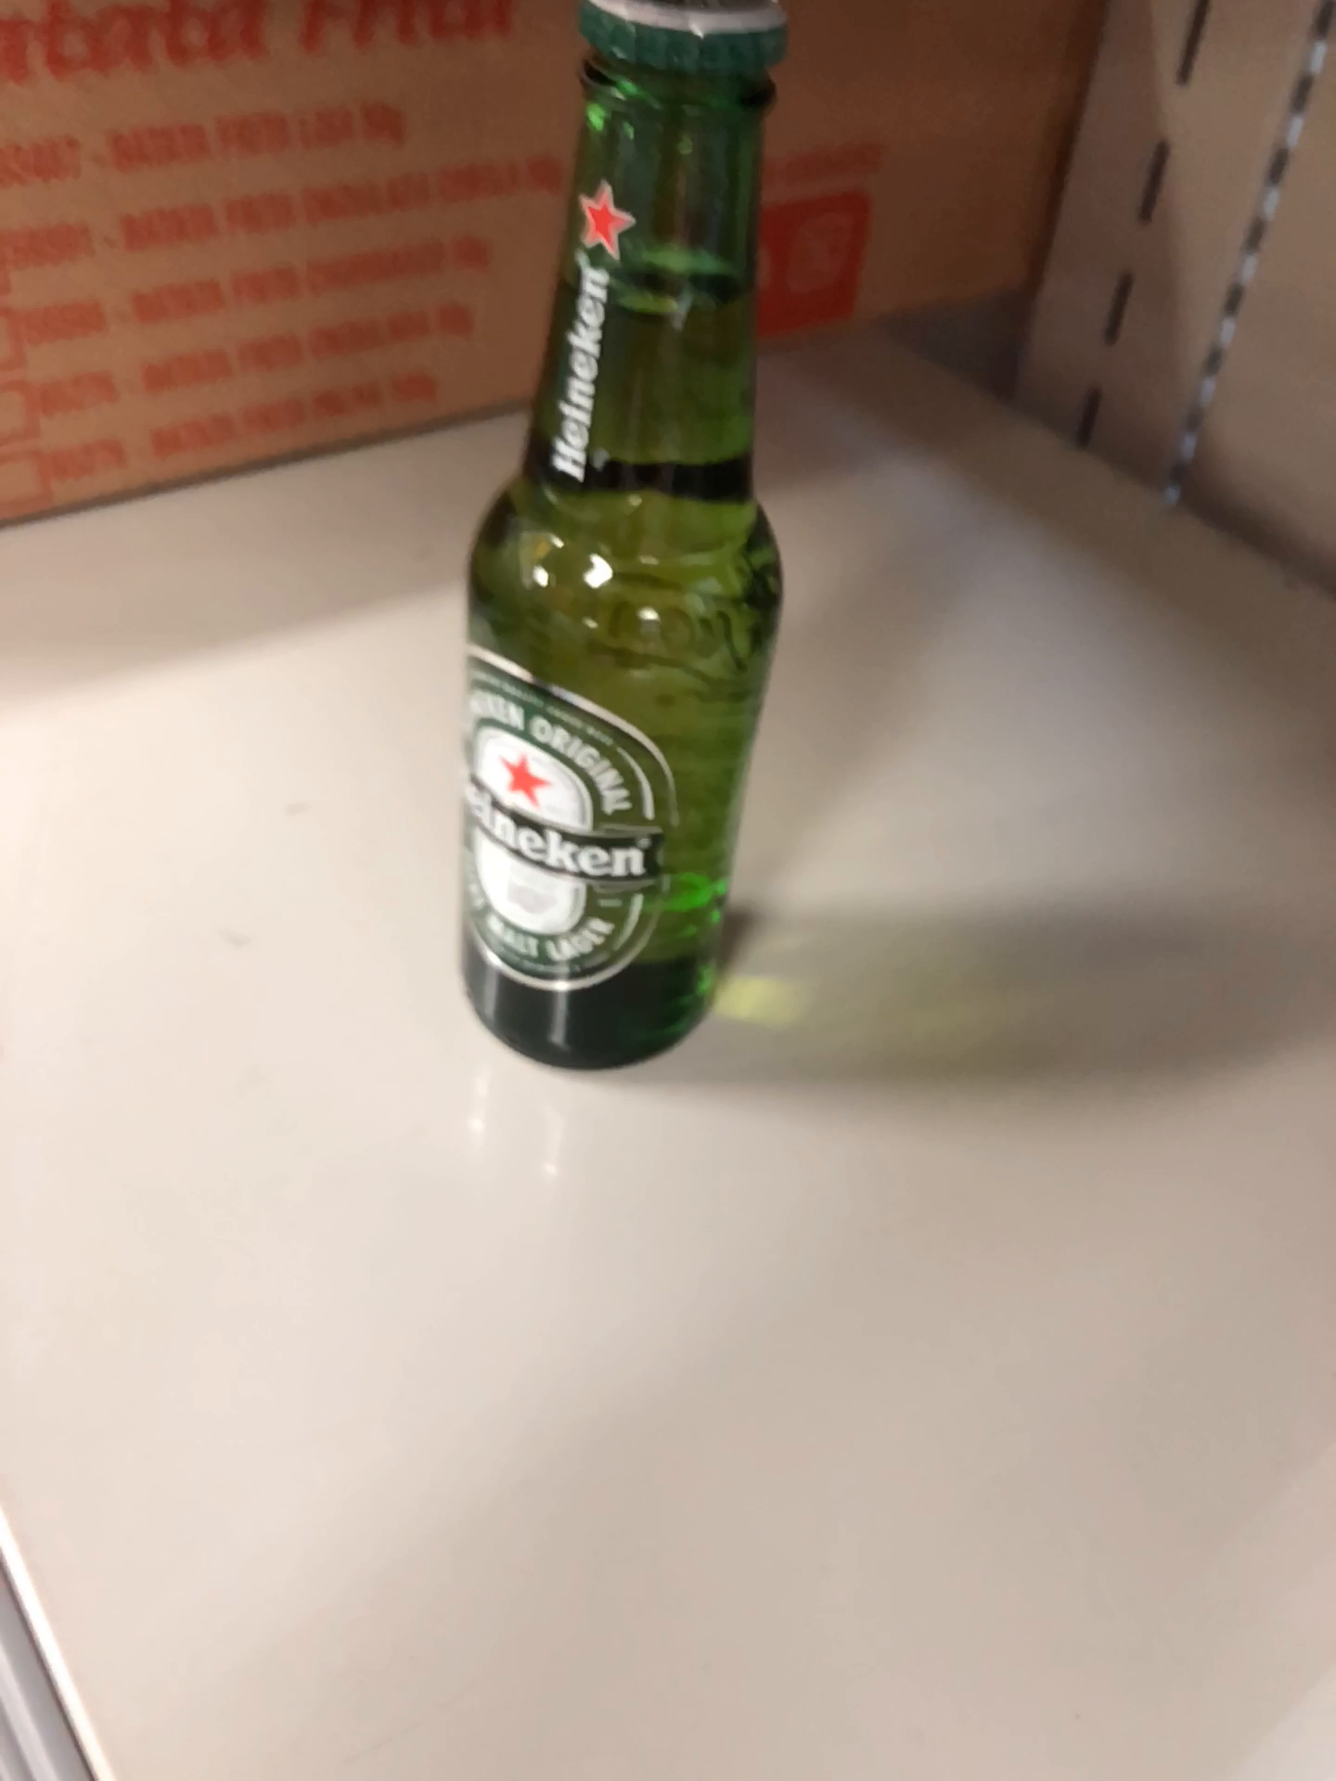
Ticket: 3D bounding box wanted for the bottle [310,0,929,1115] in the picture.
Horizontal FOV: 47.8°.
[{"bbox_3d":[-0.009,-0.053,0.267,0.060,0.198,0.060,2,45,-2],"label":"bottle"}]
